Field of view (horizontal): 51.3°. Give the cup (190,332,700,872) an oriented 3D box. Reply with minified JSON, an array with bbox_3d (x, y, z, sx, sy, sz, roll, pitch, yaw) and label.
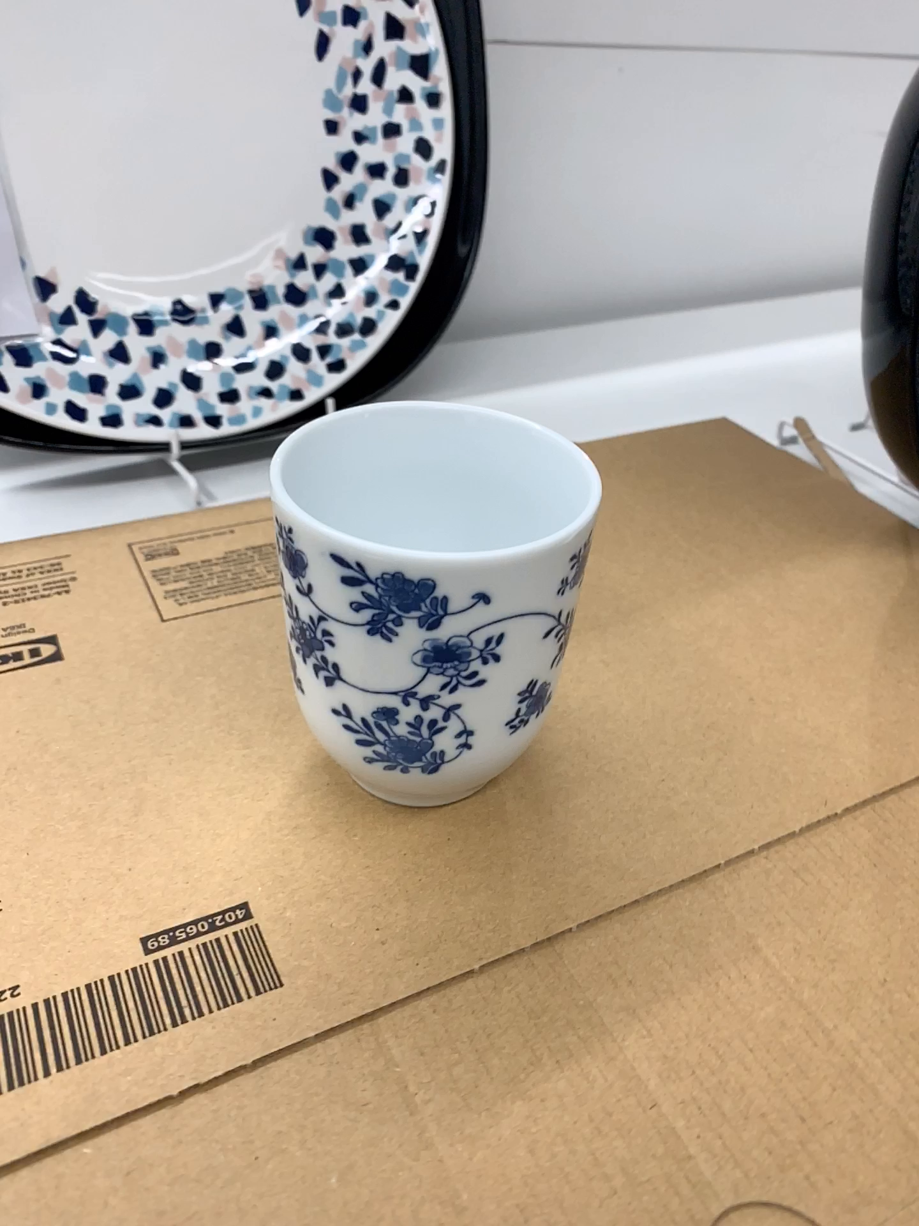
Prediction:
[{"bbox_3d":[-0.001,-0.009,0.227,0.080,0.080,0.080,3,33,-2],"label":"cup"}]
